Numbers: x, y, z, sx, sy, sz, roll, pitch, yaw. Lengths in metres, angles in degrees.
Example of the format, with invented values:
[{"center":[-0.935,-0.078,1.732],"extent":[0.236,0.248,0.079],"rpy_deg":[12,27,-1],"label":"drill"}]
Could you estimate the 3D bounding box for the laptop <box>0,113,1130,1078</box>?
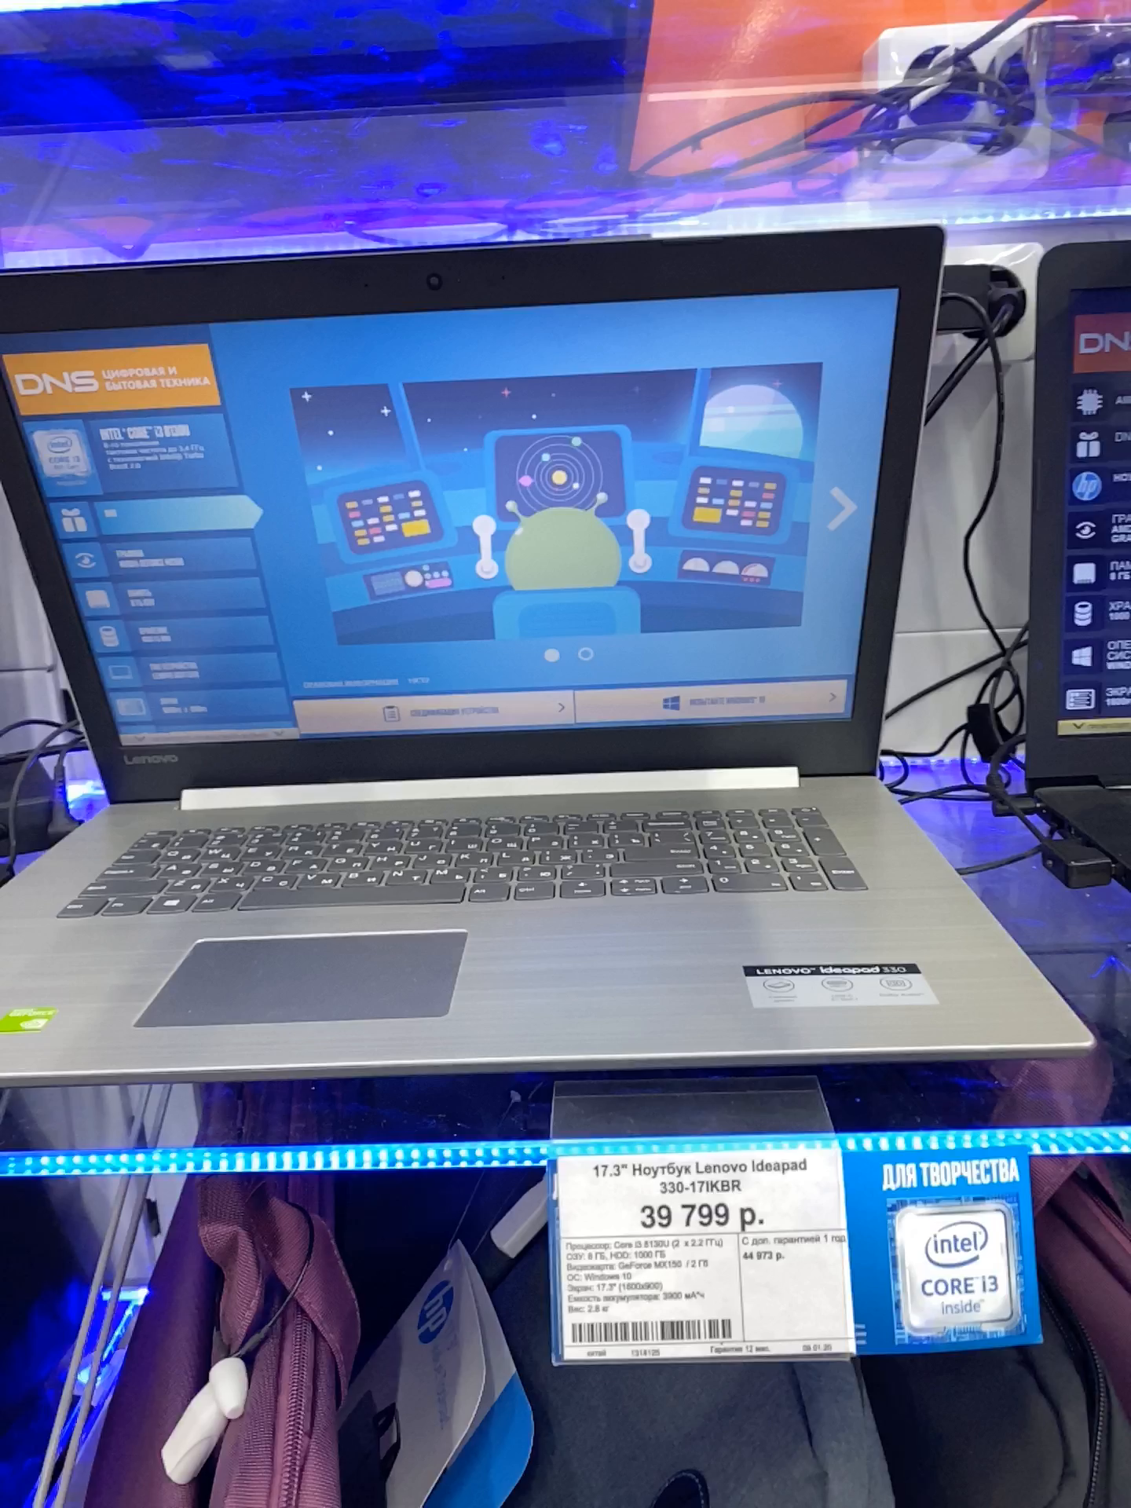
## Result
[{"center":[-0.051,-0.066,0.465],"extent":[0.417,0.256,0.280],"rpy_deg":[-2,15,2],"label":"laptop"}]
